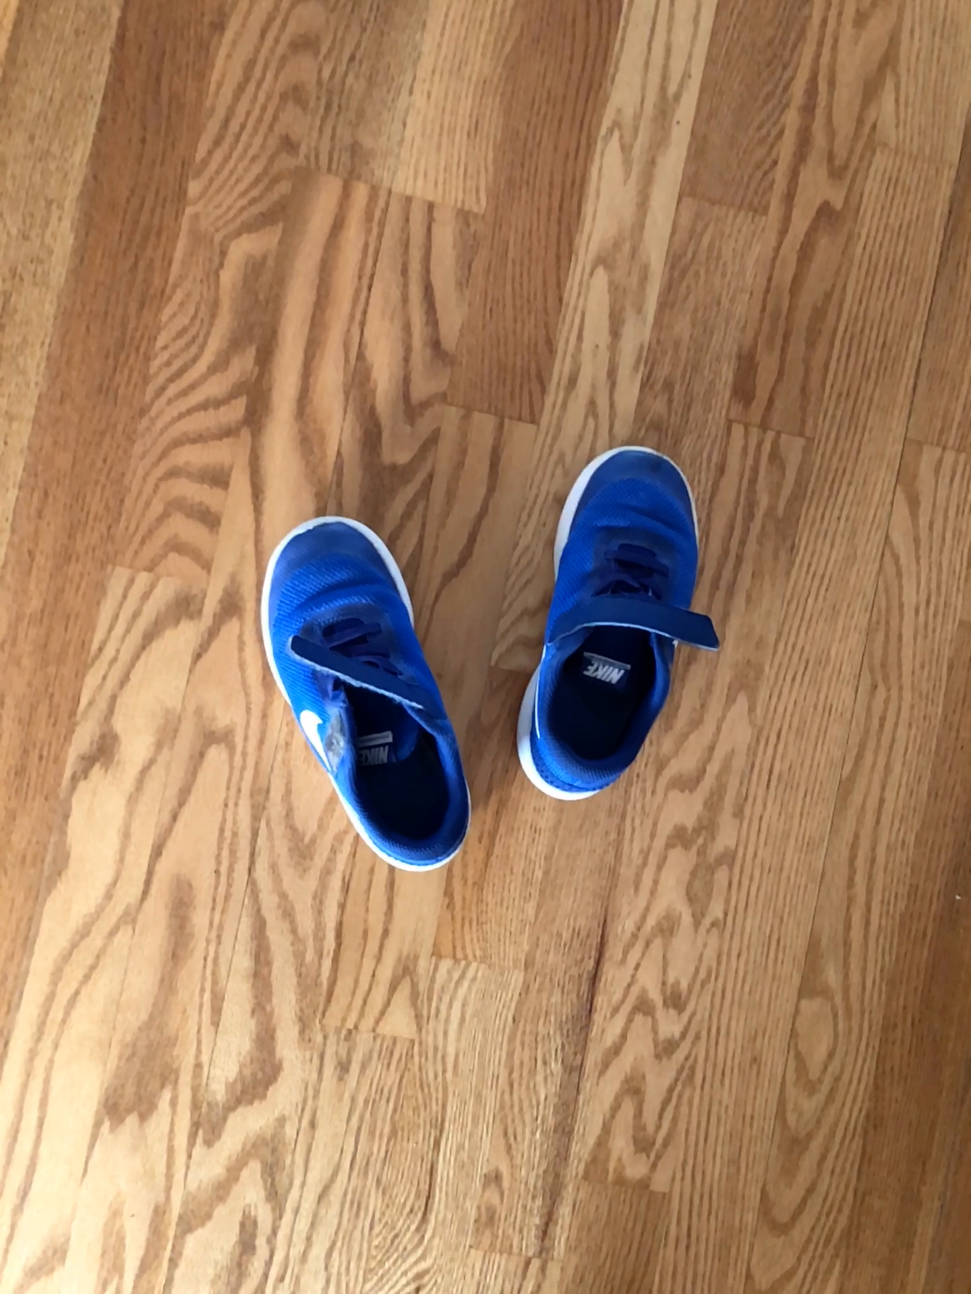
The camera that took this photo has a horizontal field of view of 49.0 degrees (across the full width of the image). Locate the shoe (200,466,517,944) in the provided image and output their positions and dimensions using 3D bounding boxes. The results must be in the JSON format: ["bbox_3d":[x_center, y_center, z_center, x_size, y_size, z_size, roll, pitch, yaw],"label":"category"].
[{"bbox_3d":[-0.066,0.028,0.564,0.093,0.092,0.214,-18,91,-7],"label":"shoe"}]

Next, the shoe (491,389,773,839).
[{"bbox_3d":[0.076,-0.016,0.588,0.093,0.092,0.214,12,87,-6],"label":"shoe"}]
